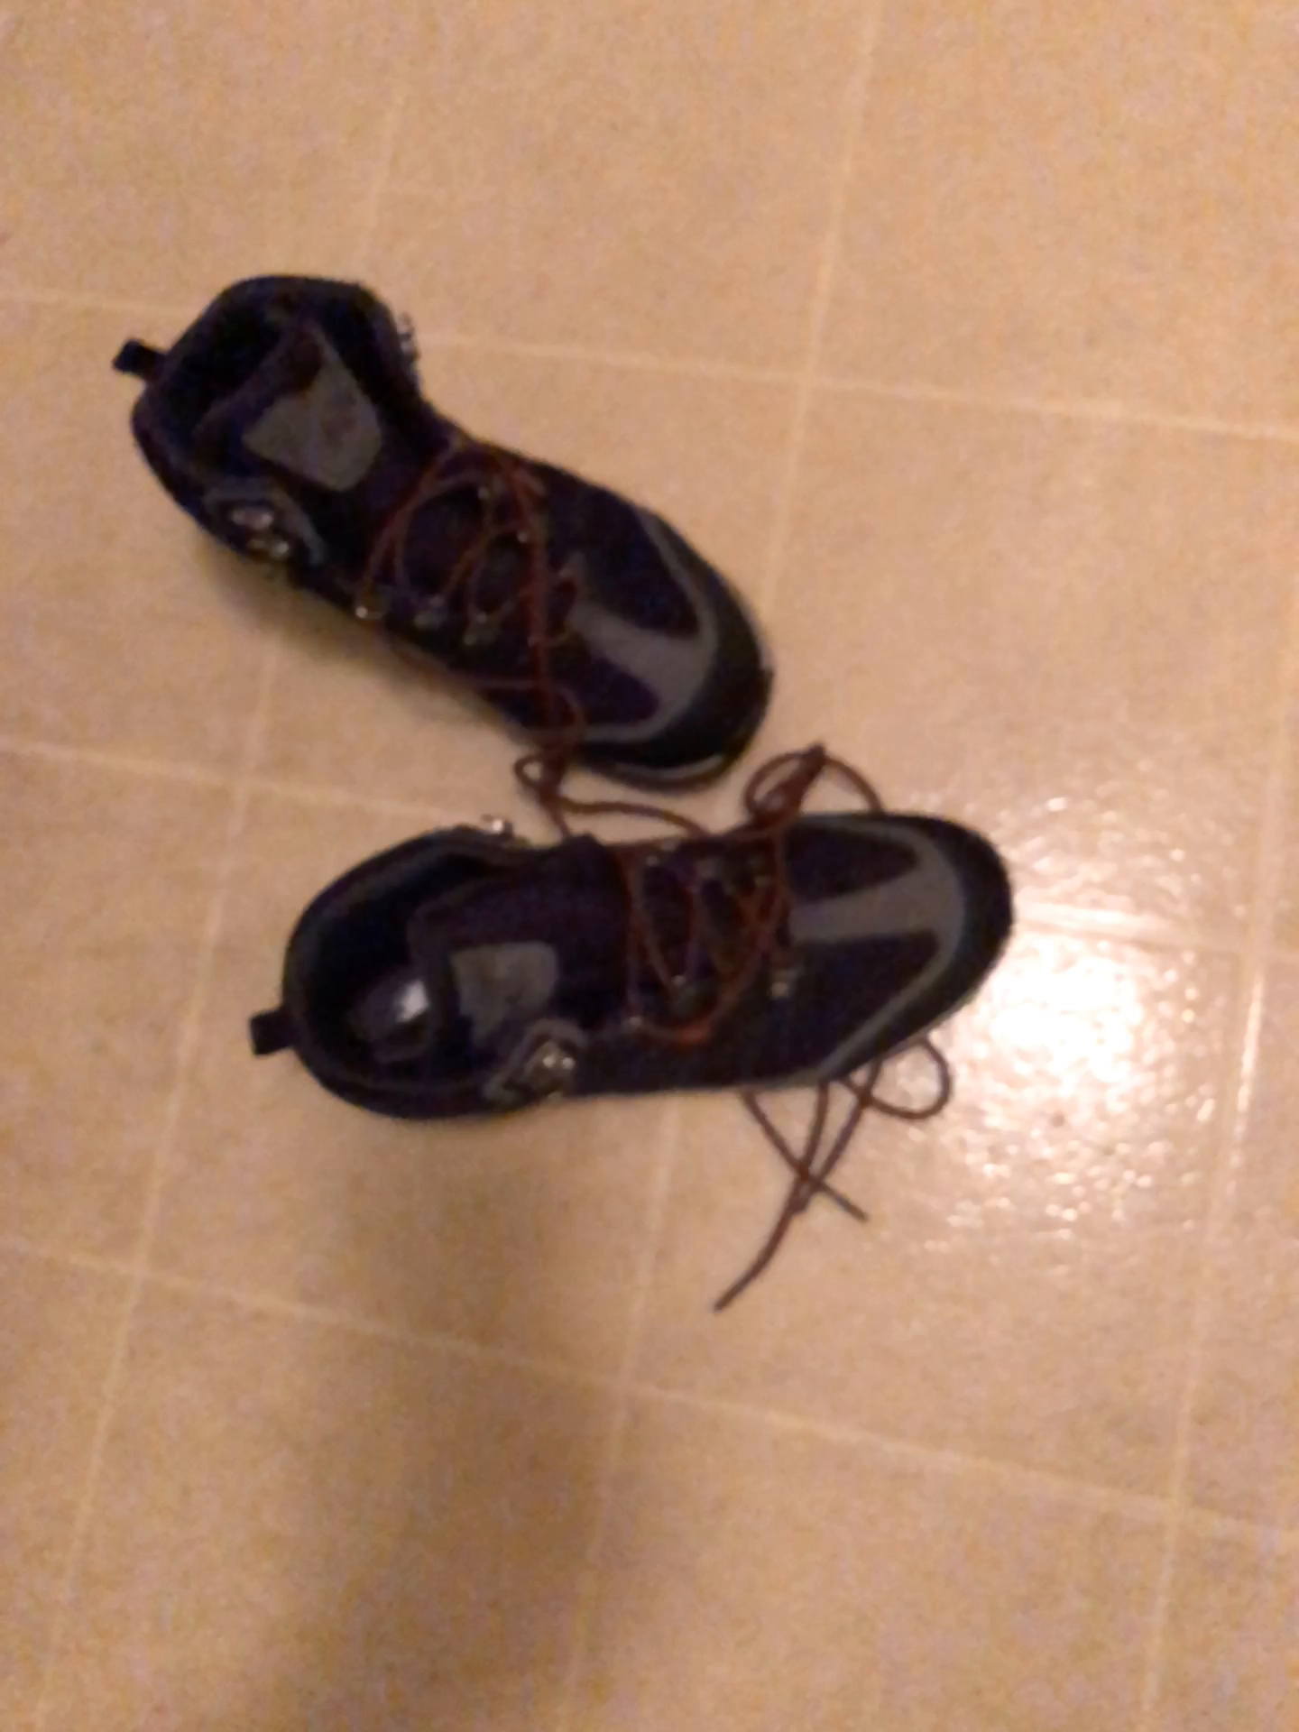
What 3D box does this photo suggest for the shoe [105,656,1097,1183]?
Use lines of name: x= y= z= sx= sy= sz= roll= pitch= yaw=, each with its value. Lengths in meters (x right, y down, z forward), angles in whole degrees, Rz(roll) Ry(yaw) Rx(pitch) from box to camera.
shoe: x=-0.010 y=0.032 z=0.547 sx=0.299 sy=0.196 sz=0.116 roll=-10 pitch=80 yaw=7

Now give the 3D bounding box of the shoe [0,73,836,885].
shoe: x=-0.093 y=-0.138 z=0.585 sx=0.309 sy=0.196 sz=0.126 roll=32 pitch=88 yaw=12
